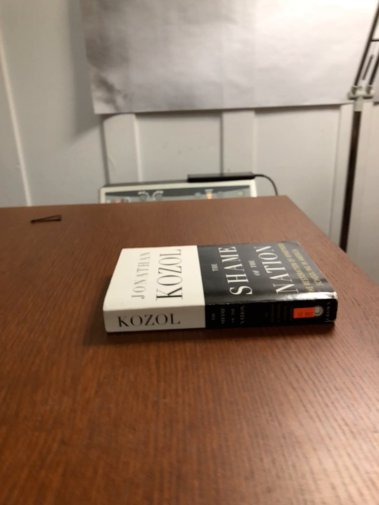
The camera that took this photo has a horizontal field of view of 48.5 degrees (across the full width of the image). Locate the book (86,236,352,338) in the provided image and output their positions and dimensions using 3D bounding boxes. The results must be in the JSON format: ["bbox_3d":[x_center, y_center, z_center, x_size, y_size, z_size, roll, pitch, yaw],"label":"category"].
[{"bbox_3d":[0.024,0.028,0.444,0.230,0.030,0.161,-2,22,-1],"label":"book"}]
